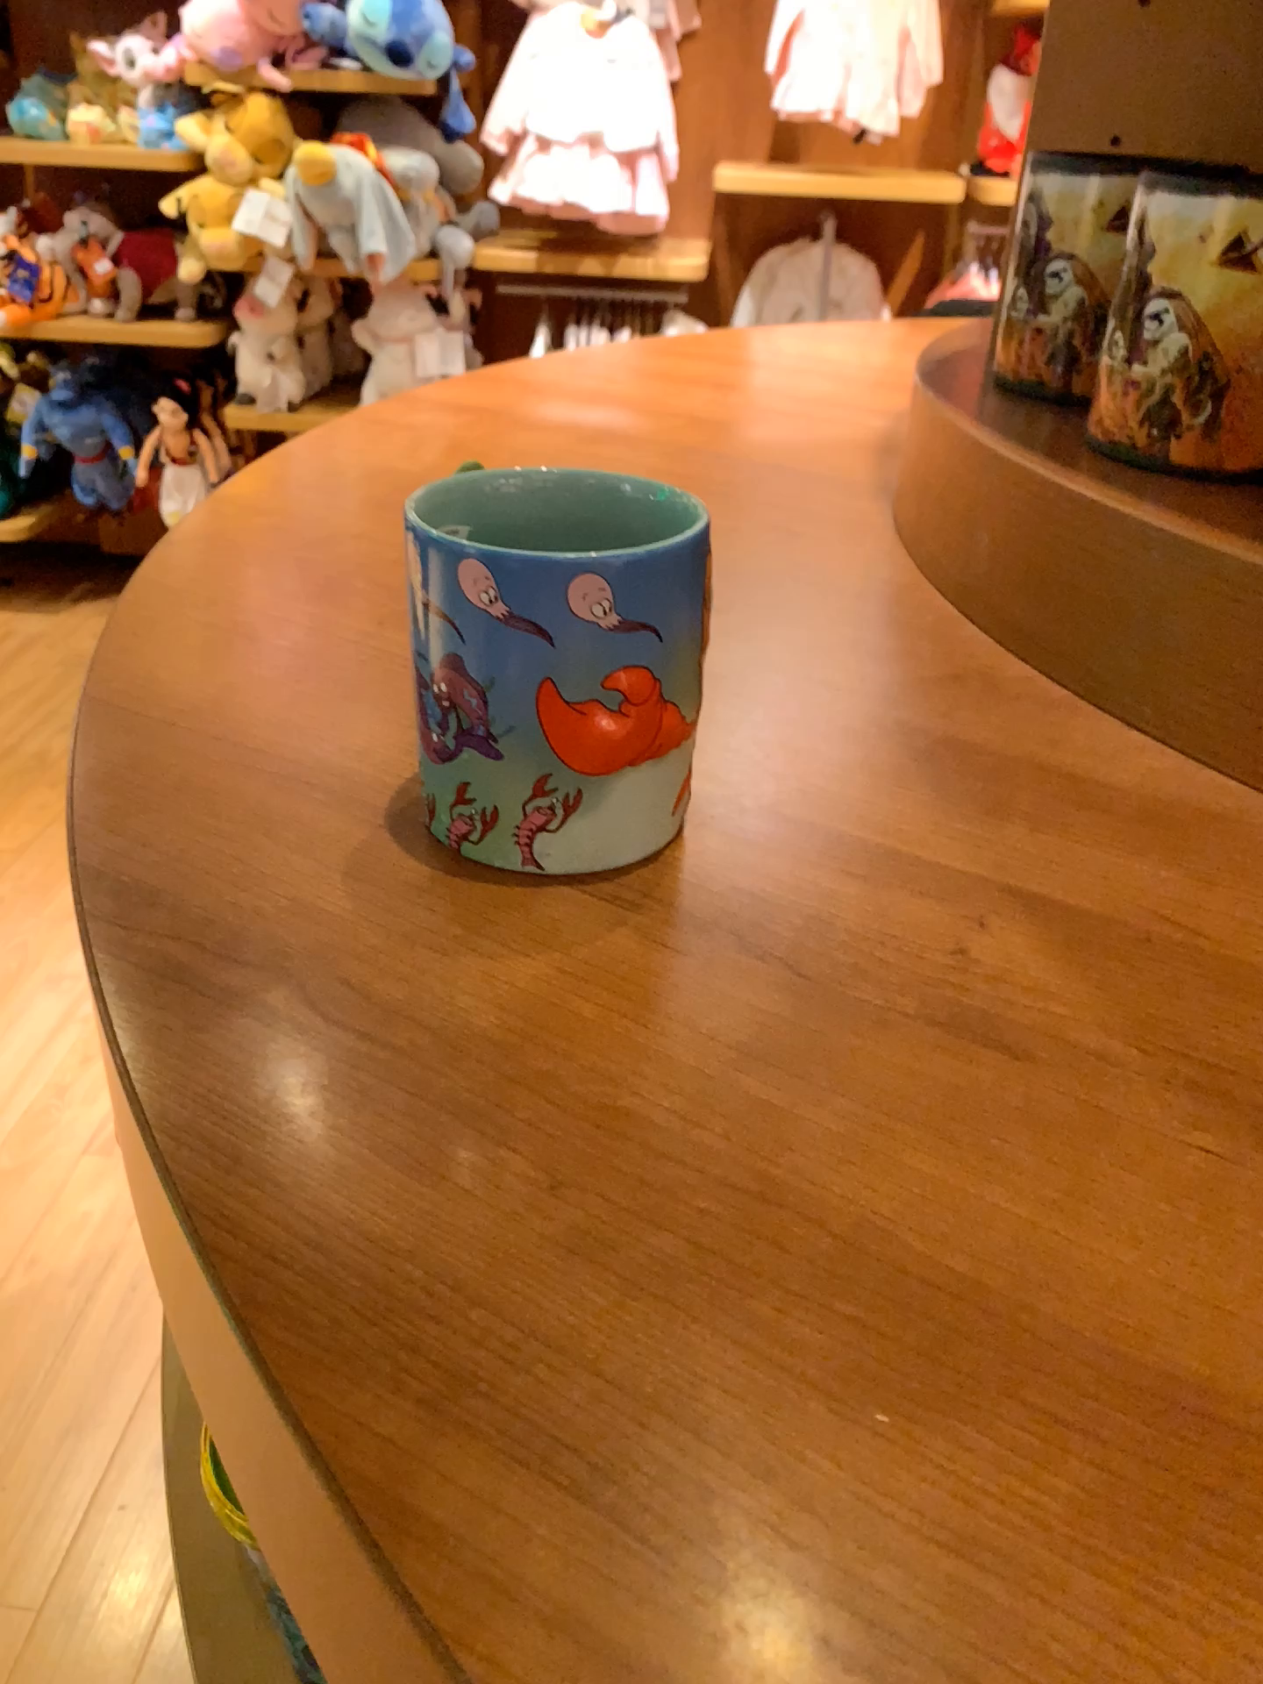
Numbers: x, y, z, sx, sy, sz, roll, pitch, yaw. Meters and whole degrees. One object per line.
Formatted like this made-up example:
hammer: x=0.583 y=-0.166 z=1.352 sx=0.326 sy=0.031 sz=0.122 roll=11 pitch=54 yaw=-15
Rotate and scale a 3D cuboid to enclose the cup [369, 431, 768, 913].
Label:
cup: x=-0.028 y=-0.062 z=0.416 sx=0.090 sy=0.101 sz=0.135 roll=-6 pitch=31 yaw=-15
